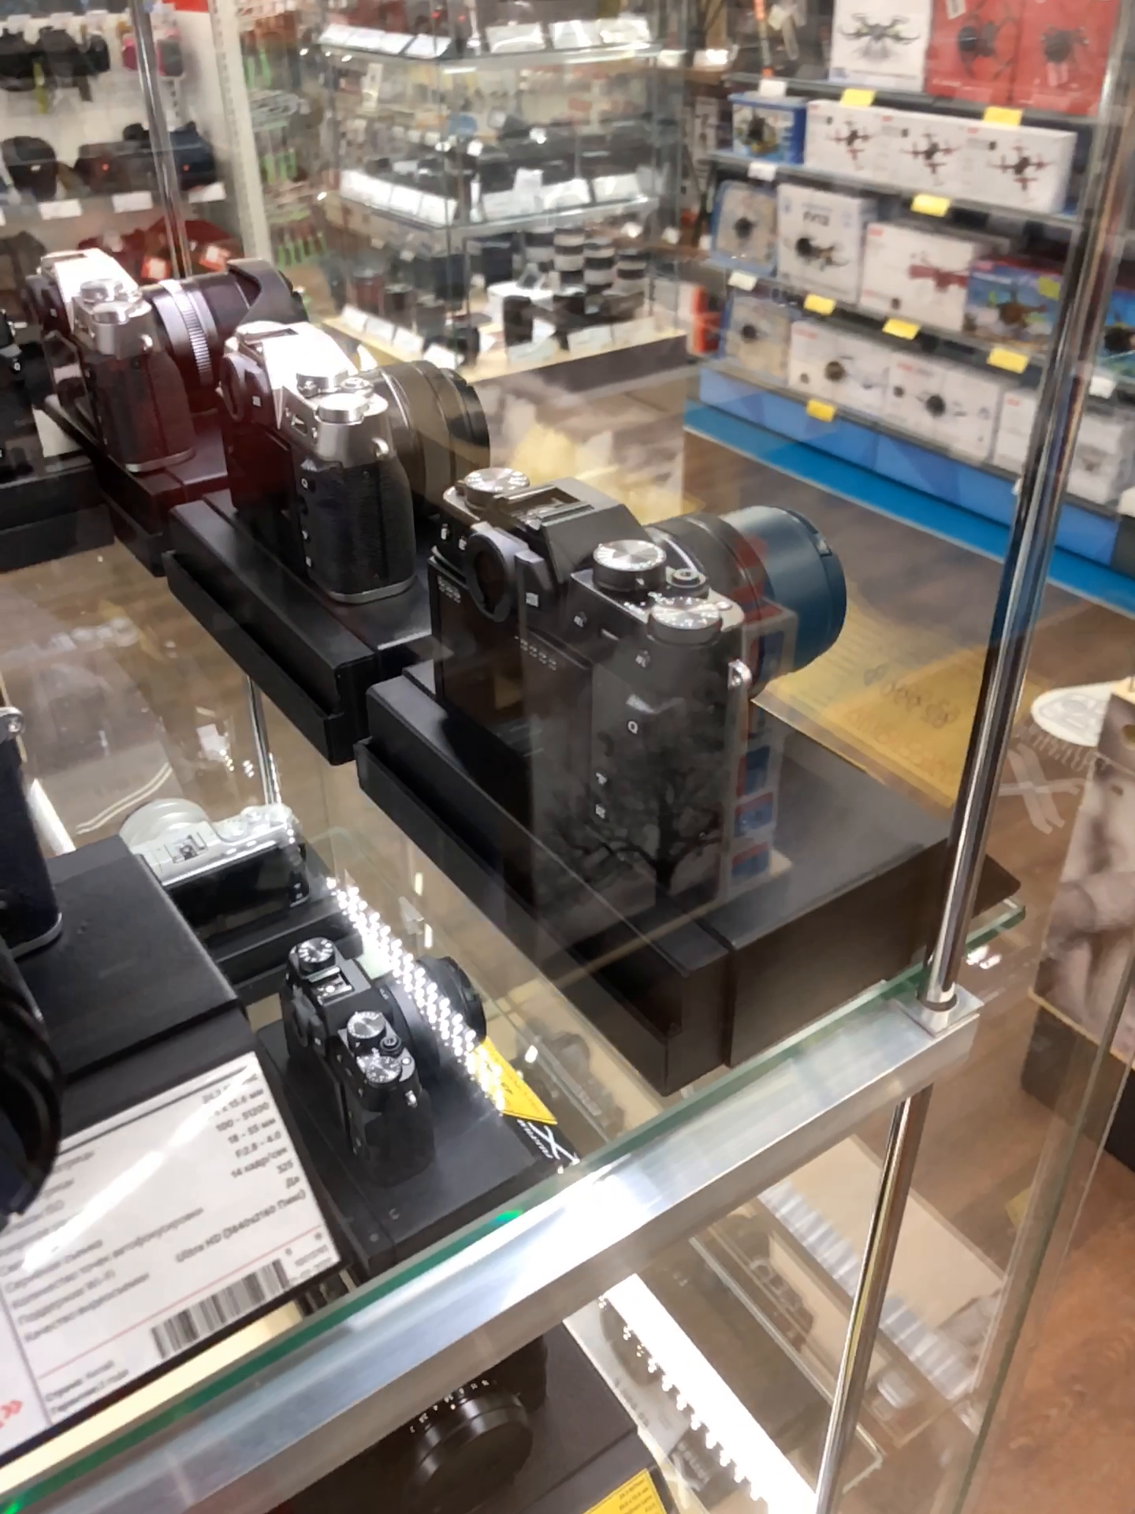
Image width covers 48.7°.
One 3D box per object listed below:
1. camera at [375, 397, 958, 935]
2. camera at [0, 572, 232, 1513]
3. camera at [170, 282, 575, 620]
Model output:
[{"bbox_3d":[0.025,-0.035,0.365,0.110,0.089,0.114,-23,39,-30],"label":"camera"},{"bbox_3d":[-0.150,0.040,0.244,0.114,0.089,0.120,-22,39,-29],"label":"camera"},{"bbox_3d":[-0.074,-0.124,0.485,0.109,0.078,0.114,-21,38,-27],"label":"camera"}]
